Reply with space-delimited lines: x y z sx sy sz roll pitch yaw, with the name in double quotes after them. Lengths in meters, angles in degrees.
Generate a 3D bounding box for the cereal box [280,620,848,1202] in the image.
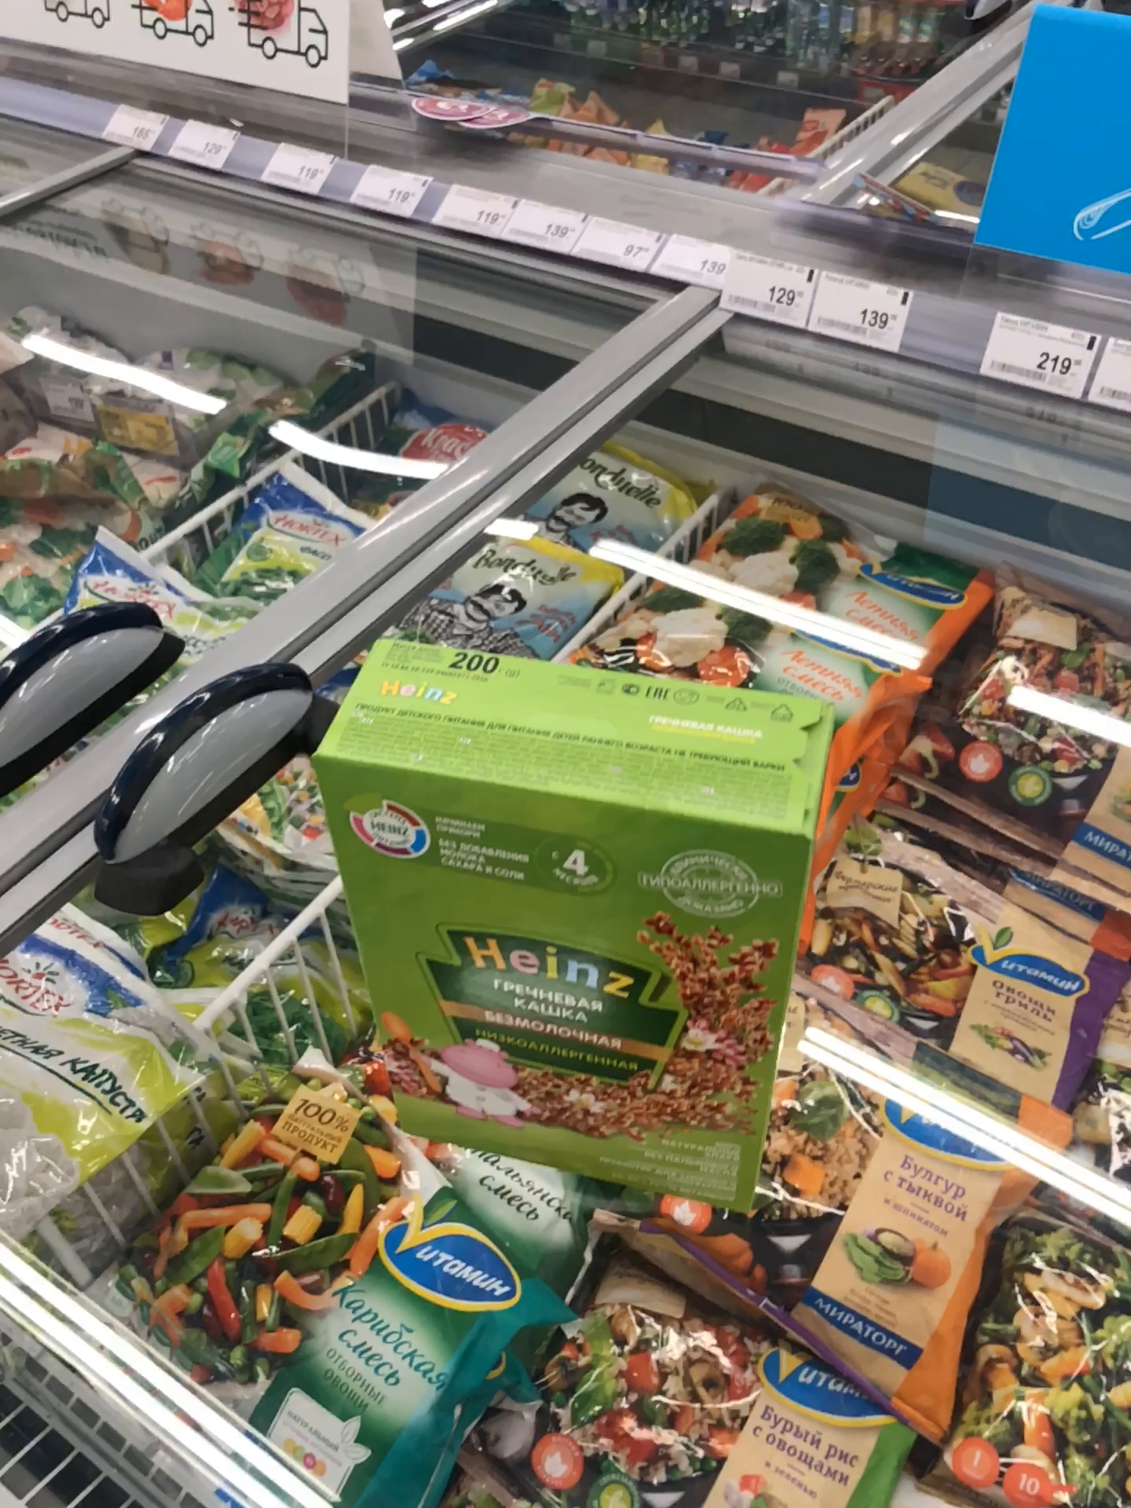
0.003 0.057 0.390 0.140 0.189 0.050 9 46 12 "cereal box"
